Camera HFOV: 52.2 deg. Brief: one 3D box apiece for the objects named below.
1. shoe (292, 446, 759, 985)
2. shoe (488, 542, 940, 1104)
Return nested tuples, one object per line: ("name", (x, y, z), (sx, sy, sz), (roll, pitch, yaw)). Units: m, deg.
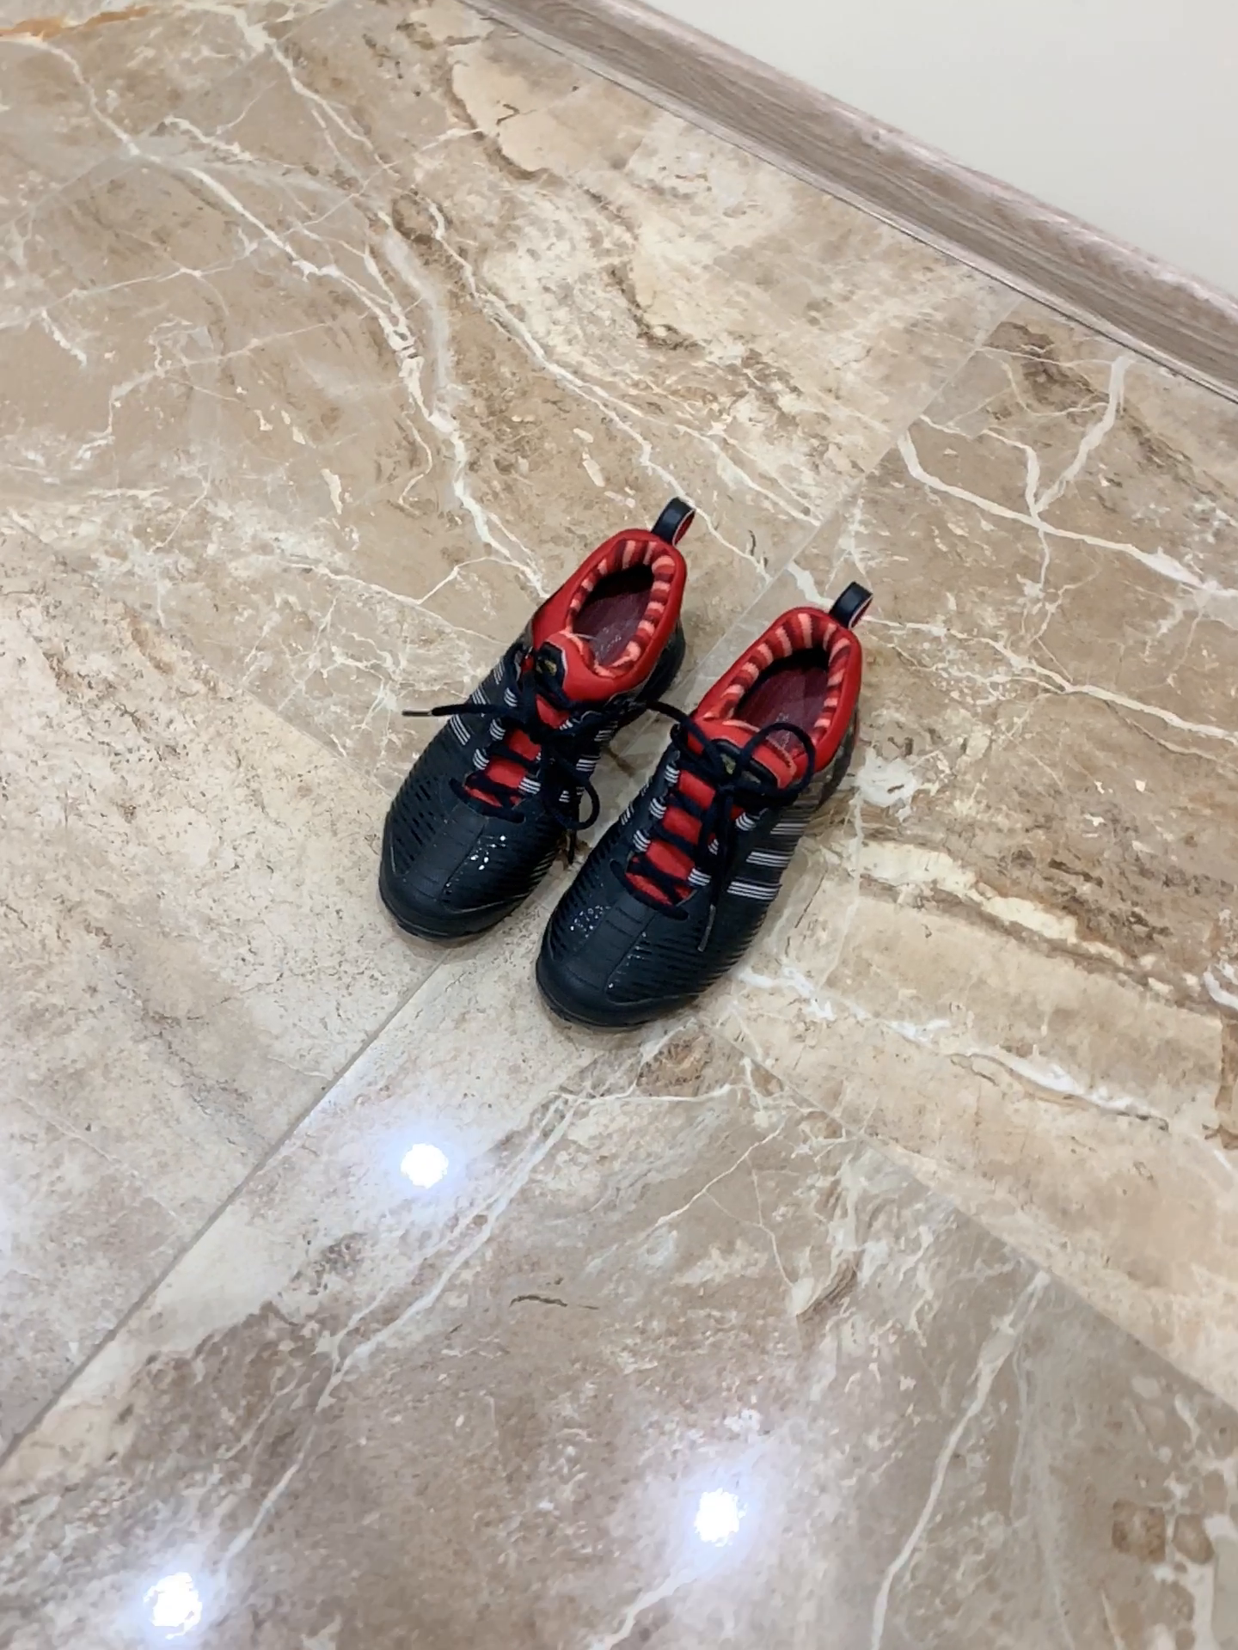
("shoe", (-0.040, -0.063, 0.666), (0.095, 0.090, 0.271), (30, 66, 12))
("shoe", (0.052, -0.006, 0.650), (0.095, 0.090, 0.271), (30, 66, 12))
